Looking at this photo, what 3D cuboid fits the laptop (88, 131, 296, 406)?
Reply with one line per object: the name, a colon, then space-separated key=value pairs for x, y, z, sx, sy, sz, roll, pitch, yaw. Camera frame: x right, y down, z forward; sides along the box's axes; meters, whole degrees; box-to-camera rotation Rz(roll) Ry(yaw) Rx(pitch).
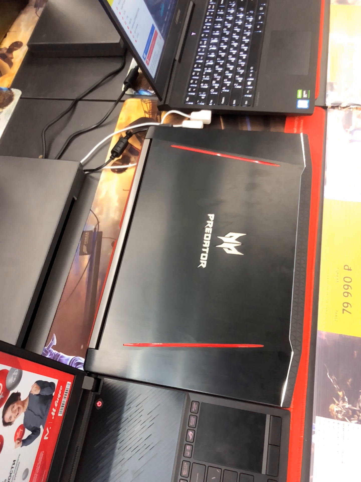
laptop: x=0.031 y=0.003 z=0.544 sx=0.228 sy=0.004 sz=0.378 roll=6 pitch=65 yaw=11
